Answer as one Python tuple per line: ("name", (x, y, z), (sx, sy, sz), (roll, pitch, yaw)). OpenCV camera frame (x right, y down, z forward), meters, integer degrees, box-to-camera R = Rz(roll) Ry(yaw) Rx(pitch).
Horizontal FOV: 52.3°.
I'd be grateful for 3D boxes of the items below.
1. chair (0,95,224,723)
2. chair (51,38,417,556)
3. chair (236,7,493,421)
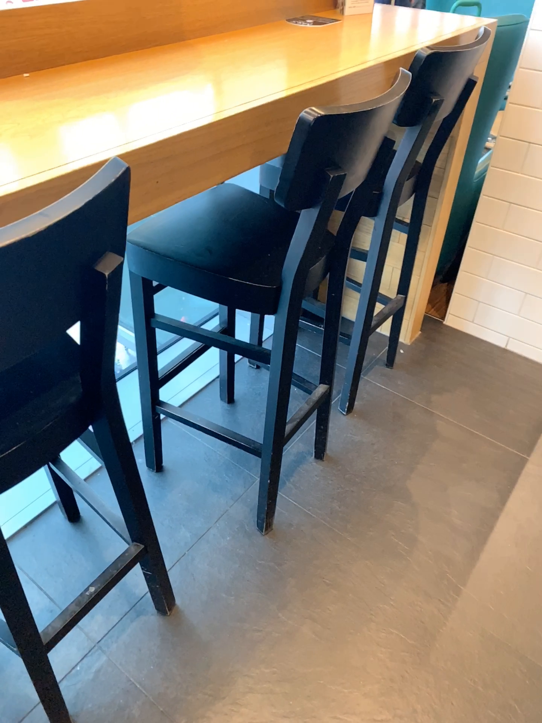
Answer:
("chair", (-0.400, 0.169, 0.933), (0.462, 1.001, 0.395), (26, 45, 27))
("chair", (-0.057, -0.117, 1.278), (0.461, 1.001, 0.455), (23, 44, 24))
("chair", (0.218, -0.402, 1.614), (0.462, 1.001, 0.425), (24, 44, 25))
